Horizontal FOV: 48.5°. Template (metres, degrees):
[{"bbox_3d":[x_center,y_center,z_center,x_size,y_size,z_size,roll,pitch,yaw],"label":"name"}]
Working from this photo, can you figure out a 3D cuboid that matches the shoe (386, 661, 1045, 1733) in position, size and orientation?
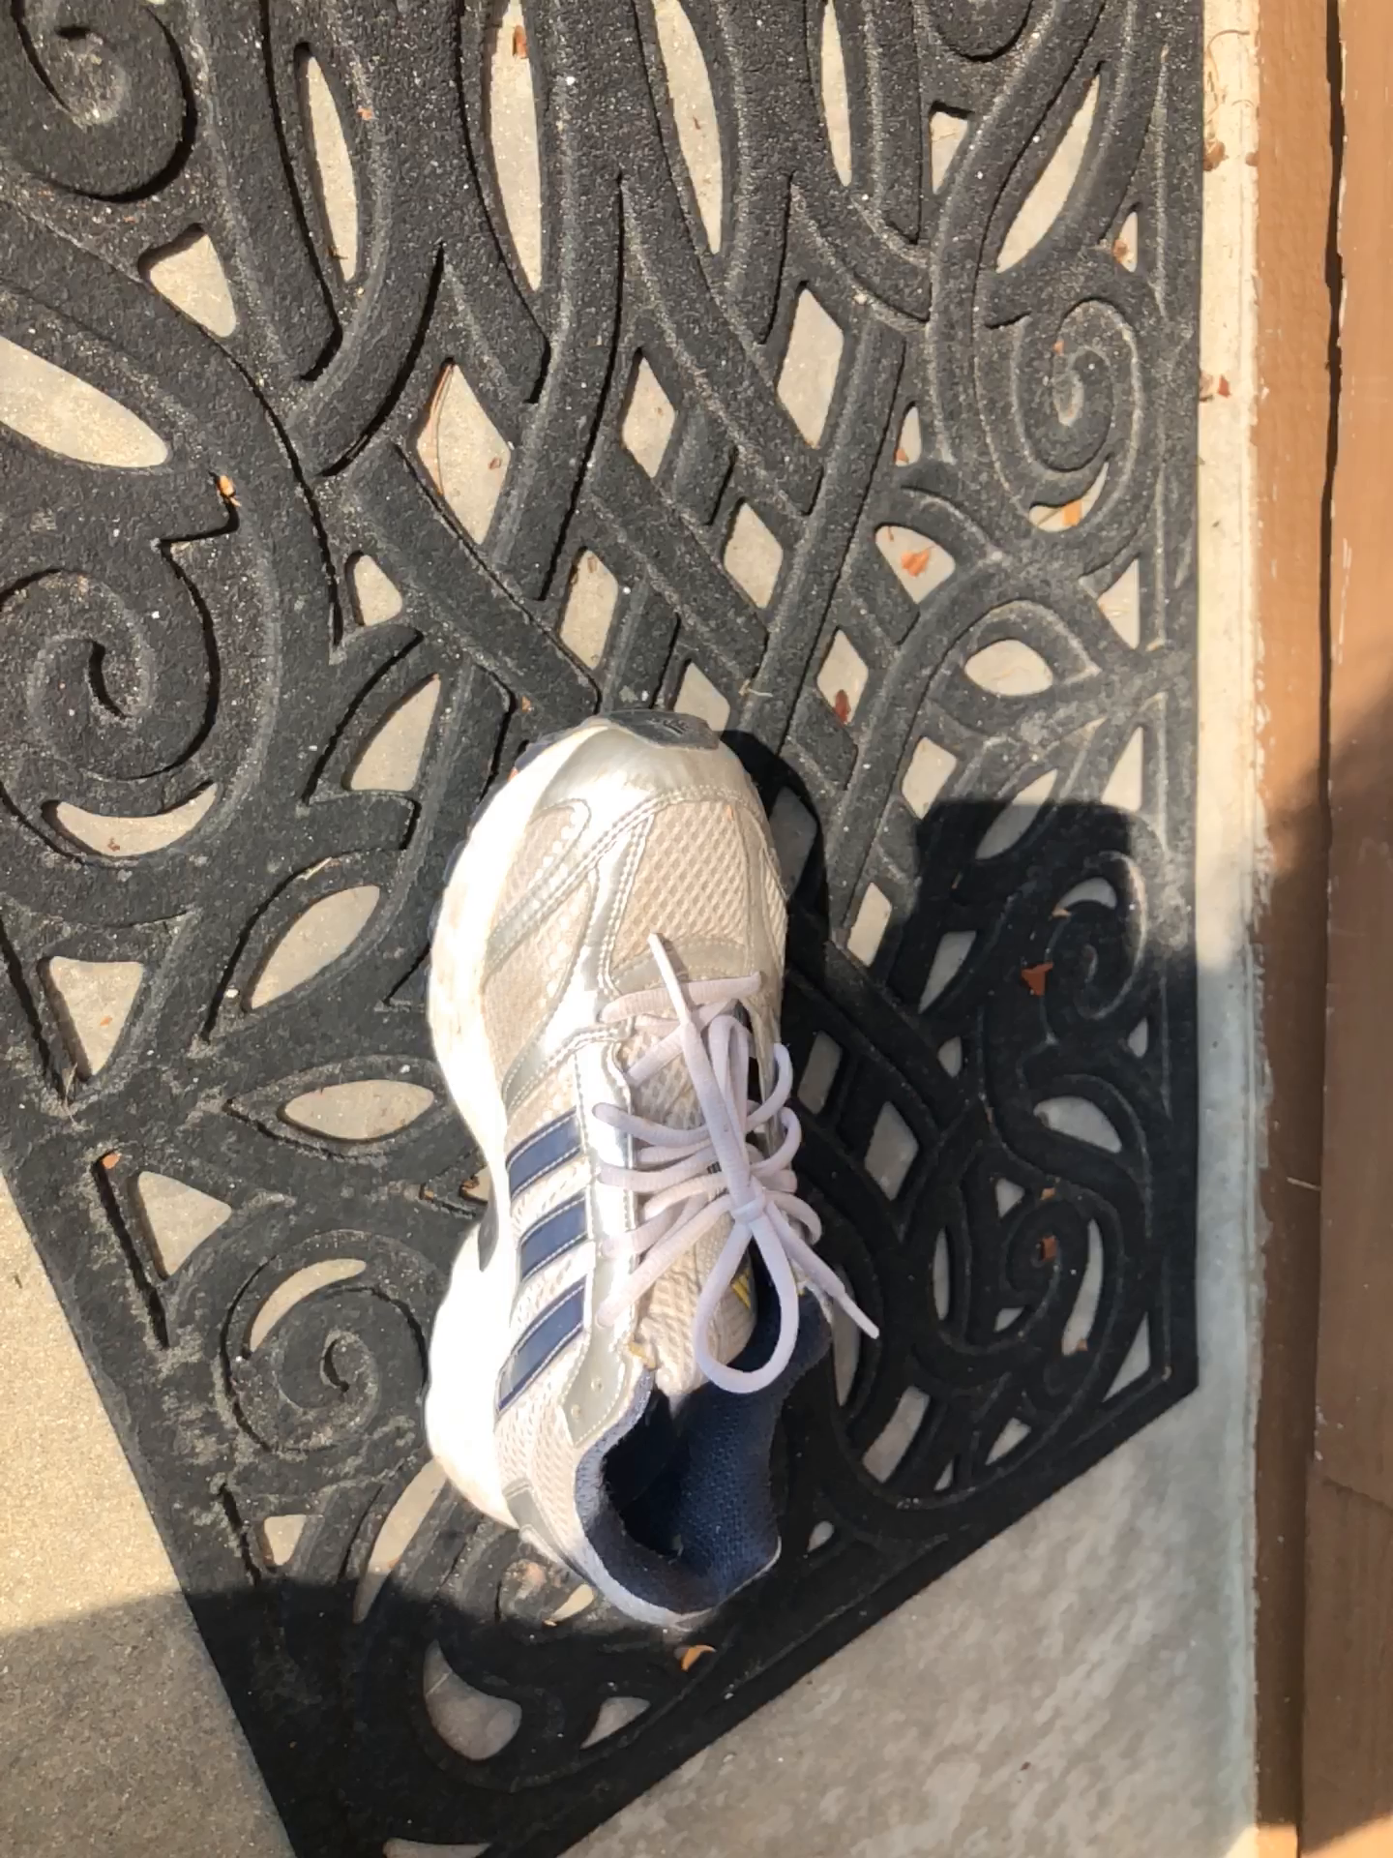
[{"bbox_3d":[-0.006,0.064,0.450,0.110,0.129,0.261,-6,110,-34],"label":"shoe"}]
